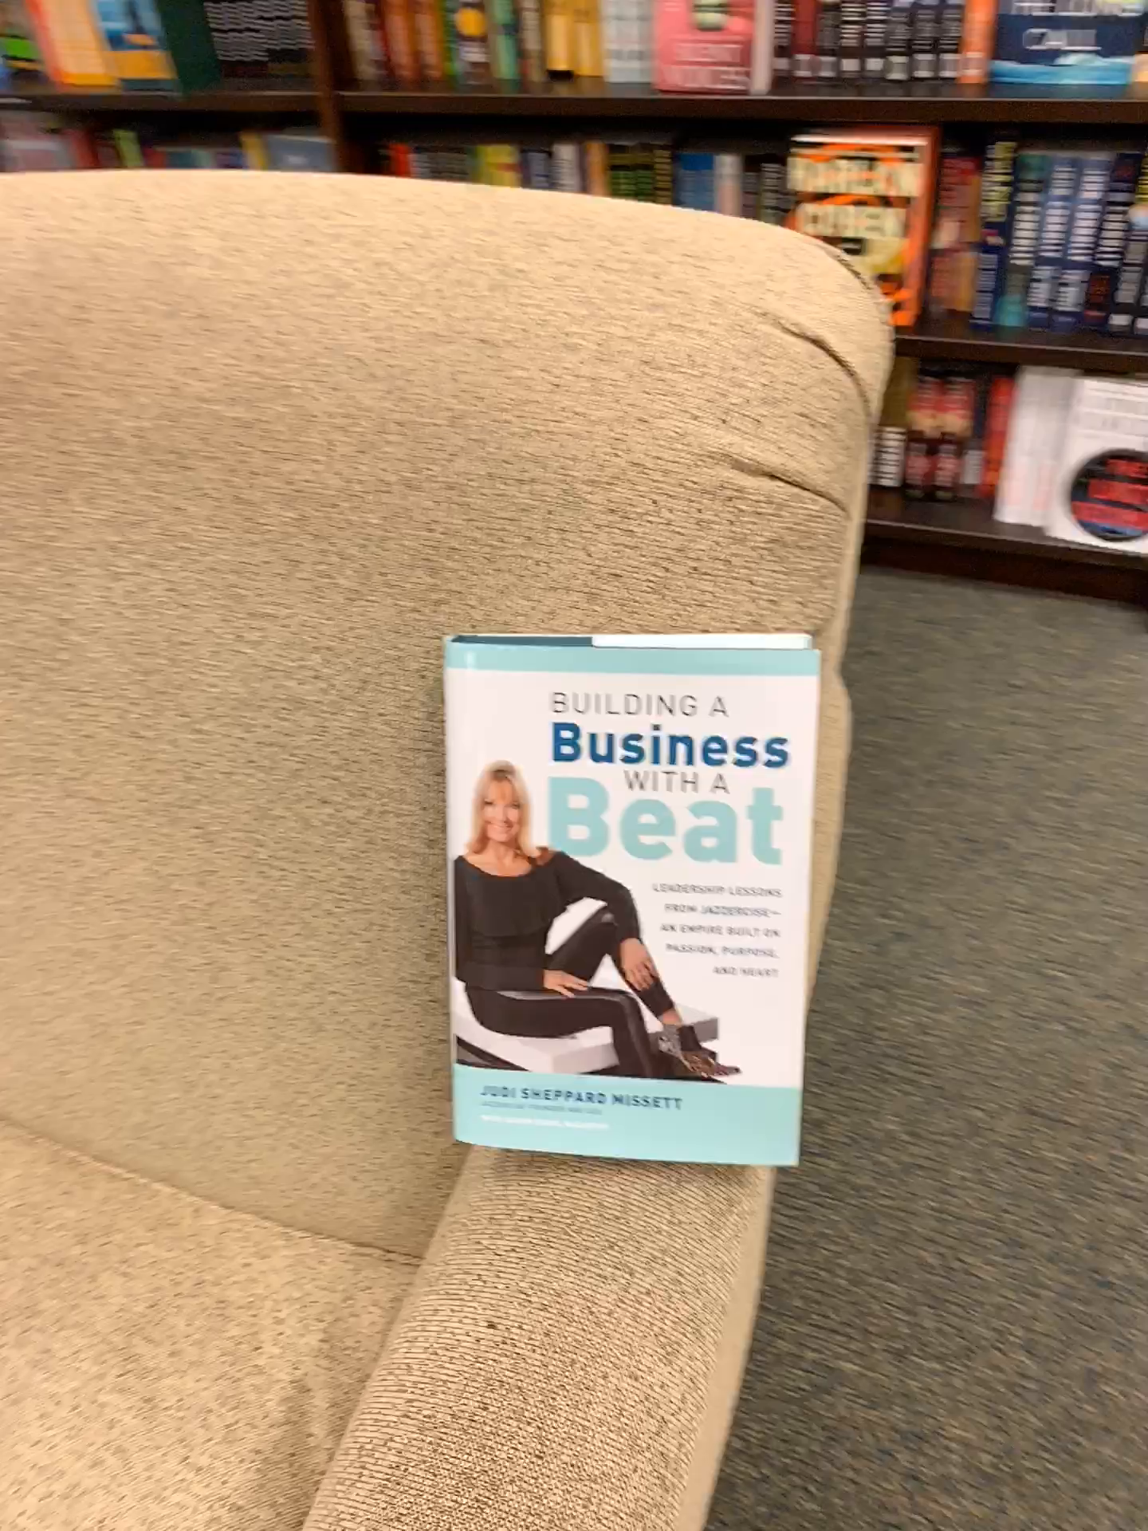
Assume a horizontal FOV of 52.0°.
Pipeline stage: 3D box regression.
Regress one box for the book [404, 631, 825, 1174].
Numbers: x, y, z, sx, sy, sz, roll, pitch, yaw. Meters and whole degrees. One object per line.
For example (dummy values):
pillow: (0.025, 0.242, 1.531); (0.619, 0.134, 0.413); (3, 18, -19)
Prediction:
book: (0.020, 0.059, 0.517); (0.170, 0.230, 0.040); (1, 14, 10)
